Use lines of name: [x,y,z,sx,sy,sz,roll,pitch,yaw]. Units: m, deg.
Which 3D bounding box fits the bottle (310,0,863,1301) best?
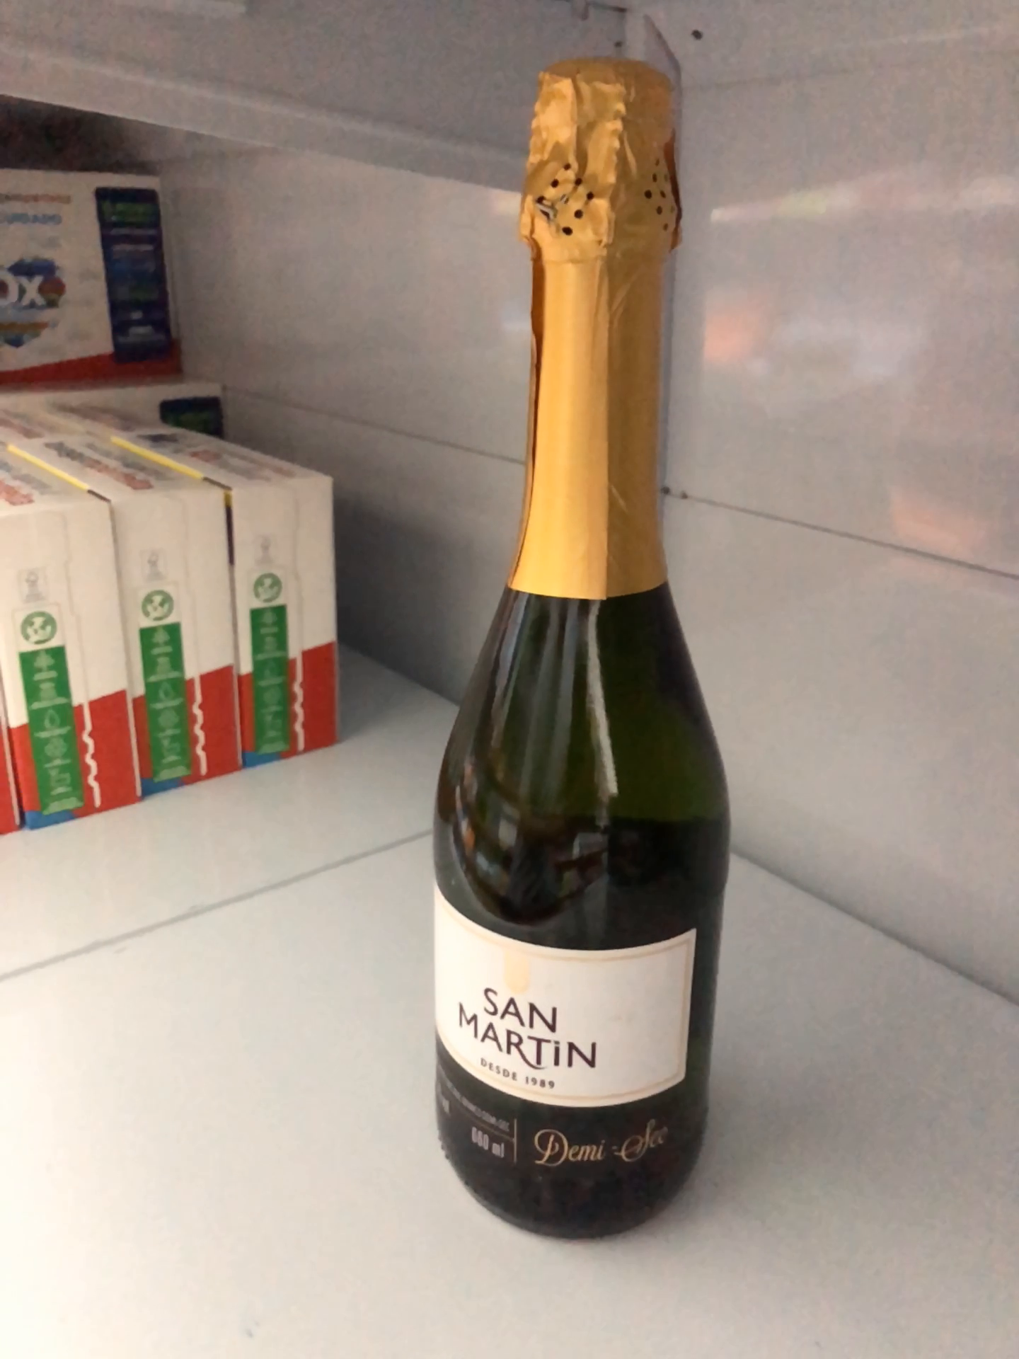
bottle: [0.019,-0.006,0.290,0.090,0.308,0.080,11,23,26]
